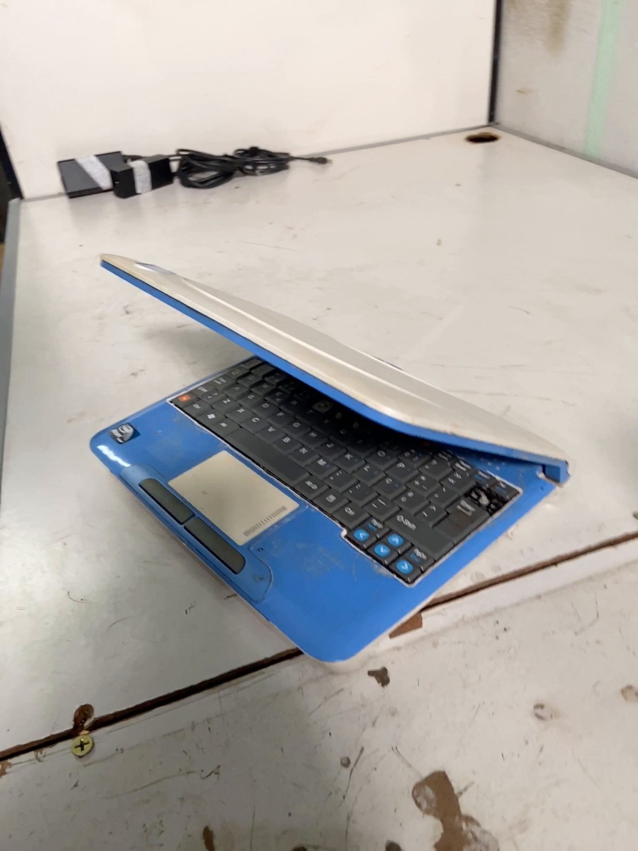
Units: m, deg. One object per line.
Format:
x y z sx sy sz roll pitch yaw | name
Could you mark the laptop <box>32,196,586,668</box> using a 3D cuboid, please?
-0.015 -0.030 0.381 0.182 0.116 0.247 -29 42 -30 | laptop
